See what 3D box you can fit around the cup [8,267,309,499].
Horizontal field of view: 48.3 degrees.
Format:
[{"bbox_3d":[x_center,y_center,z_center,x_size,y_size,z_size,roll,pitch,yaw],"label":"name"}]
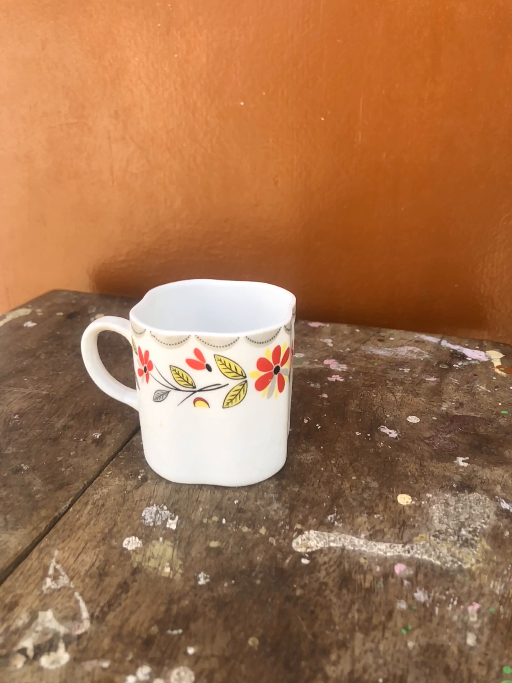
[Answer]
[{"bbox_3d":[-0.028,0.010,0.210,0.090,0.060,0.060,3,21,8],"label":"cup"}]
